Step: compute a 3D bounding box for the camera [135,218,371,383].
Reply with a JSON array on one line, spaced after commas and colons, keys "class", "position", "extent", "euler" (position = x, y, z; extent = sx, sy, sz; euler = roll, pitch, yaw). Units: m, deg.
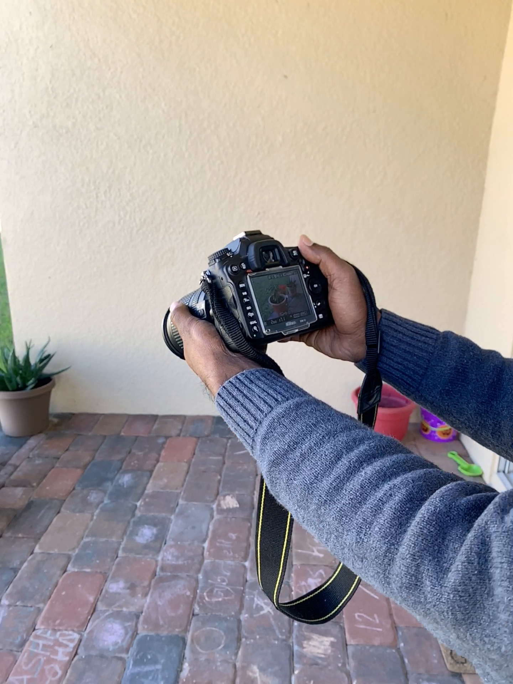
[{"class": "camera", "position": [-0.013, -0.037, 0.546], "extent": [0.130, 0.101, 0.199], "euler": [-15, -3, -38]}]
